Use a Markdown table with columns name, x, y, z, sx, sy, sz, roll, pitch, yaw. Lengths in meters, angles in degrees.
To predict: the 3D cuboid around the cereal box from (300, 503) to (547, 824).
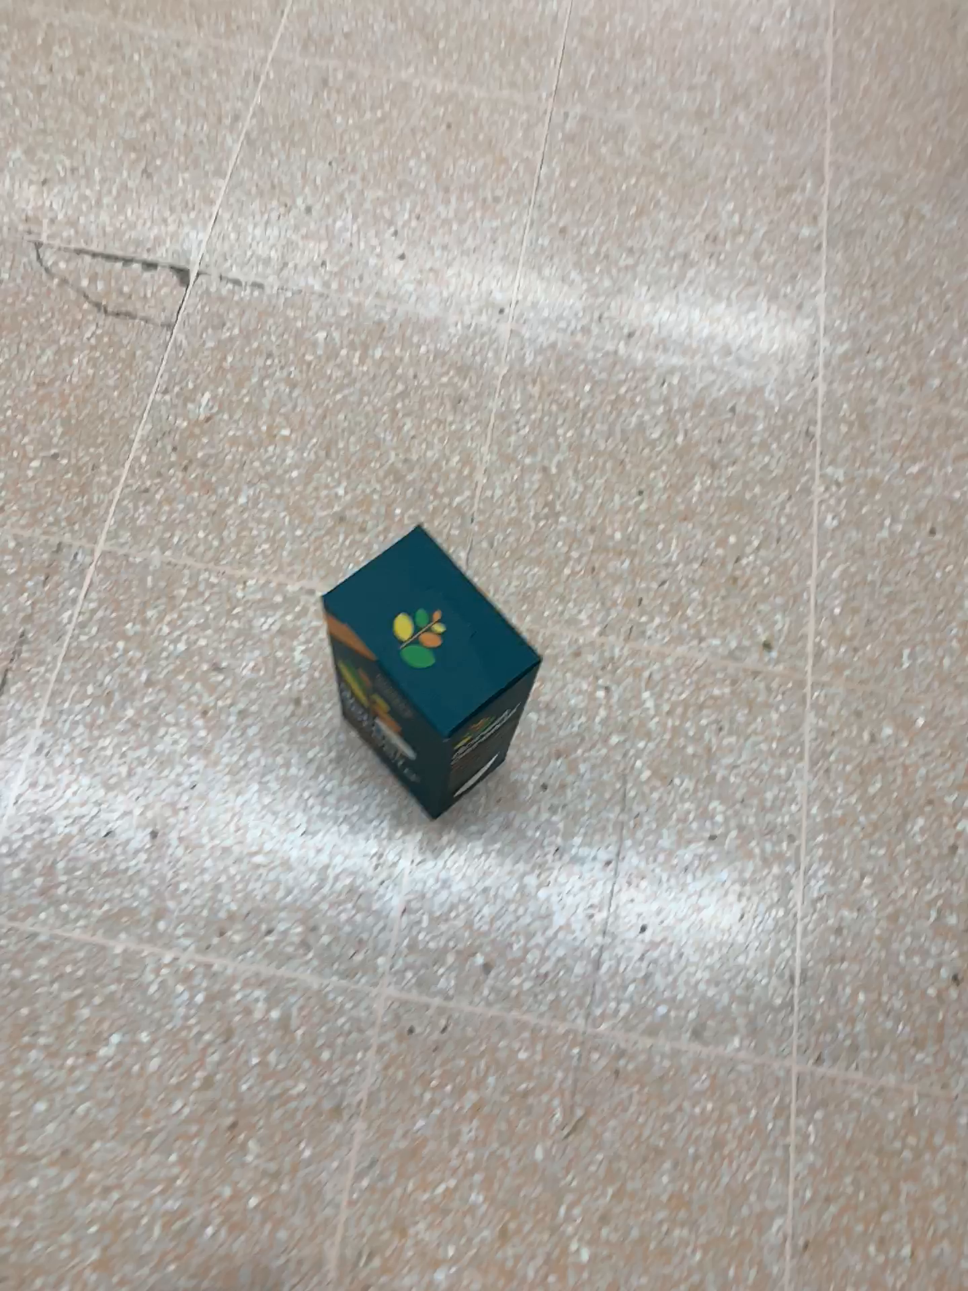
| name | x | y | z | sx | sy | sz | roll | pitch | yaw |
| --- | --- | --- | --- | --- | --- | --- | --- | --- | --- |
| cereal box | -0.043 | 0.026 | 0.666 | 0.080 | 0.239 | 0.120 | -38 | 76 | -17 |
